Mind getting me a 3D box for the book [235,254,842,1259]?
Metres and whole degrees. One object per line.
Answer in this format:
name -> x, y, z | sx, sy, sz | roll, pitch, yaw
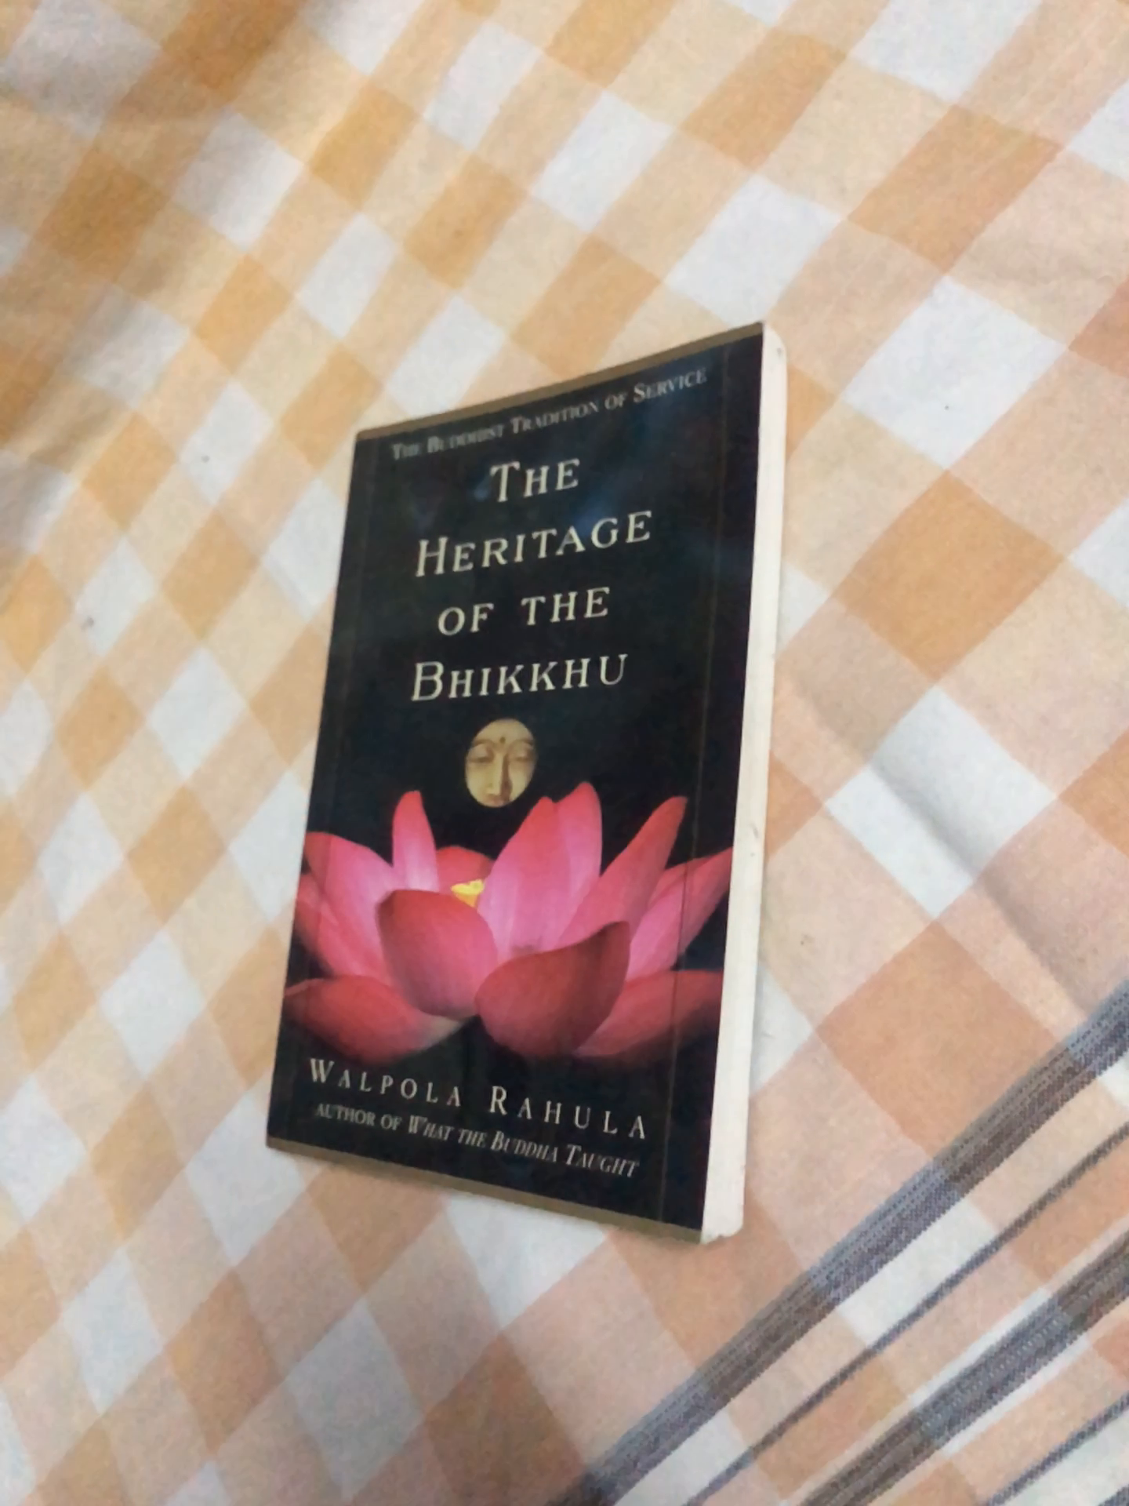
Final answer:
book -> -0.007, -0.002, 0.318 | 0.140, 0.030, 0.220 | -3, 75, 34
